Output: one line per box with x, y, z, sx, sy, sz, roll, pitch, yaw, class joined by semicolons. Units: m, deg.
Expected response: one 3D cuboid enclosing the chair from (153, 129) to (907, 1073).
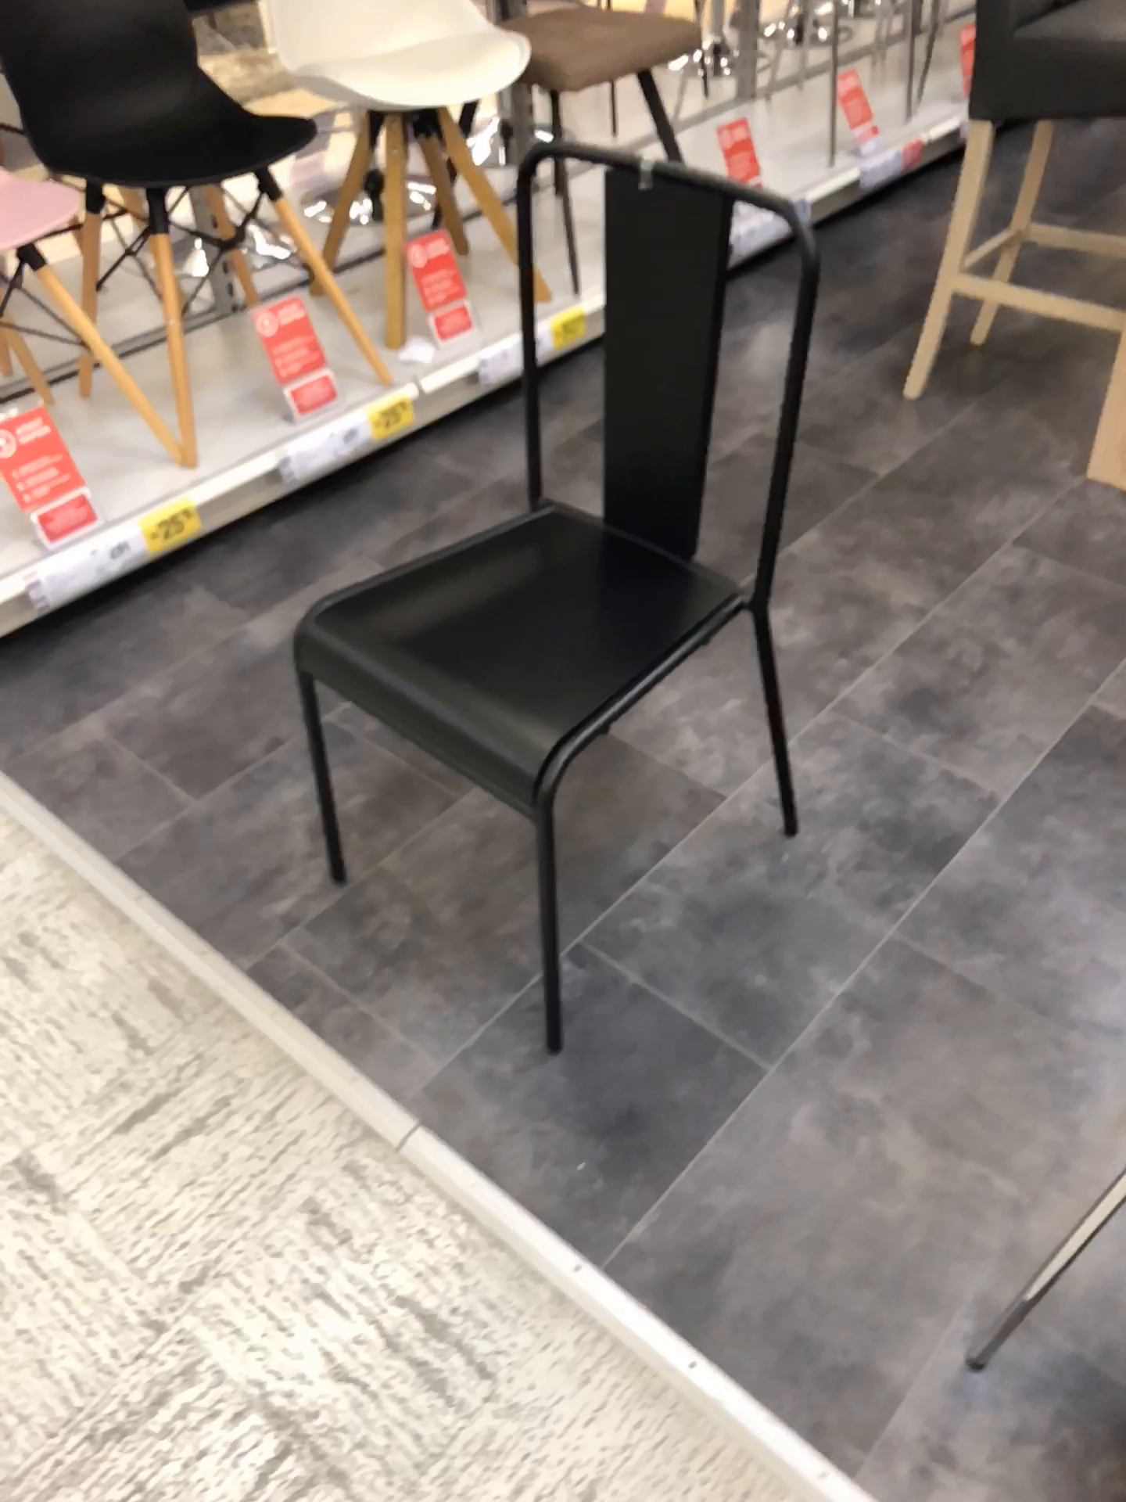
-0.001;-0.174;1.438;0.440;0.815;0.573;29;51;31;chair
